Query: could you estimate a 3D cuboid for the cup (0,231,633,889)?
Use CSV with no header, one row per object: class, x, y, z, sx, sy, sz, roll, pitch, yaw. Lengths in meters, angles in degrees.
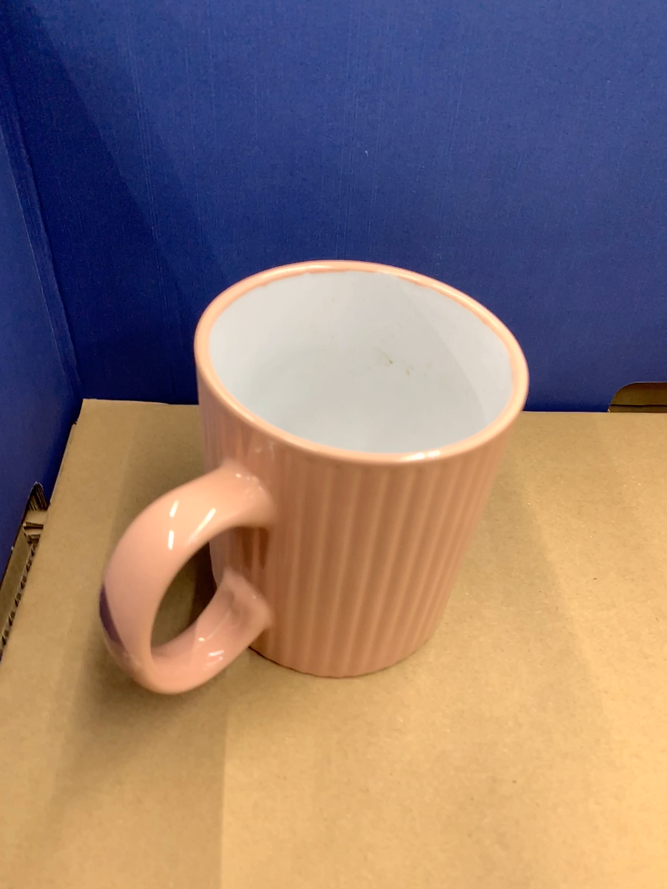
cup,-0.002,0.027,0.221,0.102,0.128,0.155,29,43,29
